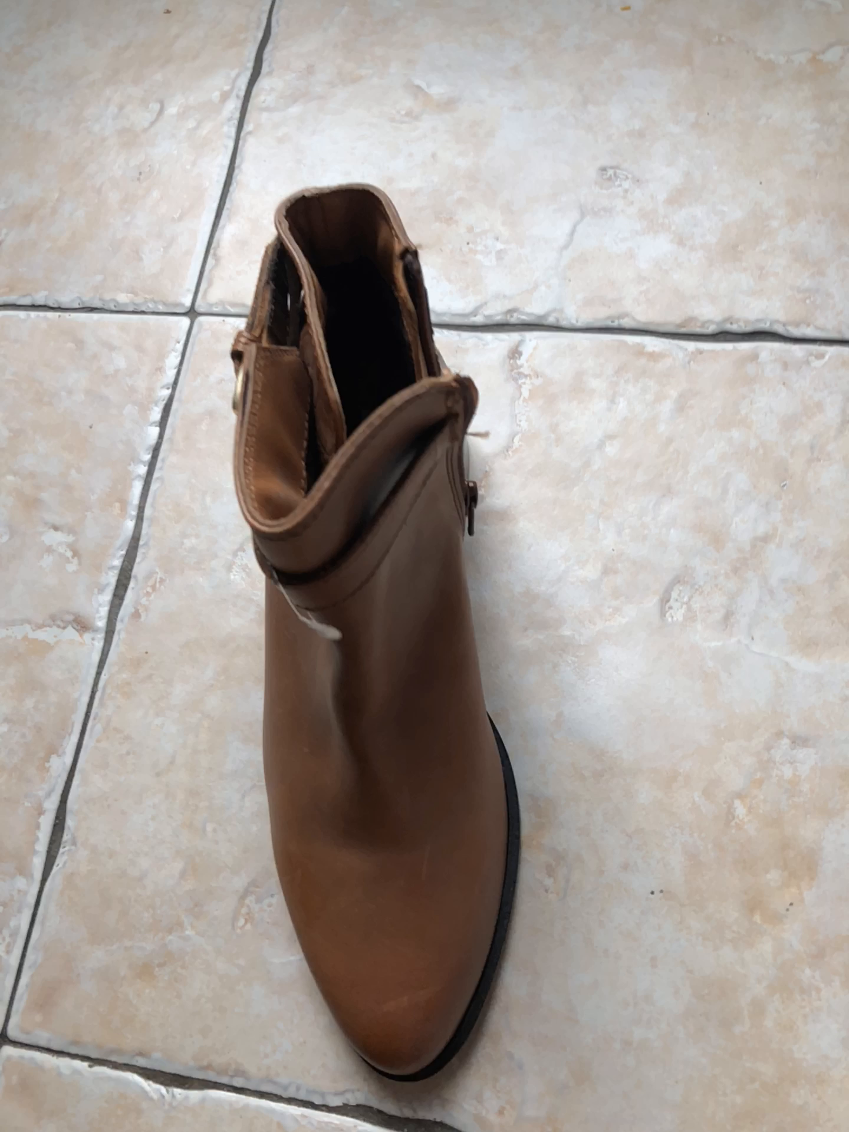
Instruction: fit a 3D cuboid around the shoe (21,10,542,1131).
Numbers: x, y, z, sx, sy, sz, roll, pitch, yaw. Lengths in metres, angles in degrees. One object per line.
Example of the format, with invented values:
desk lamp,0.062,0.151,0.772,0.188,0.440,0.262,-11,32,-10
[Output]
shoe,-0.016,0.015,0.307,0.090,0.180,0.301,-3,70,10
